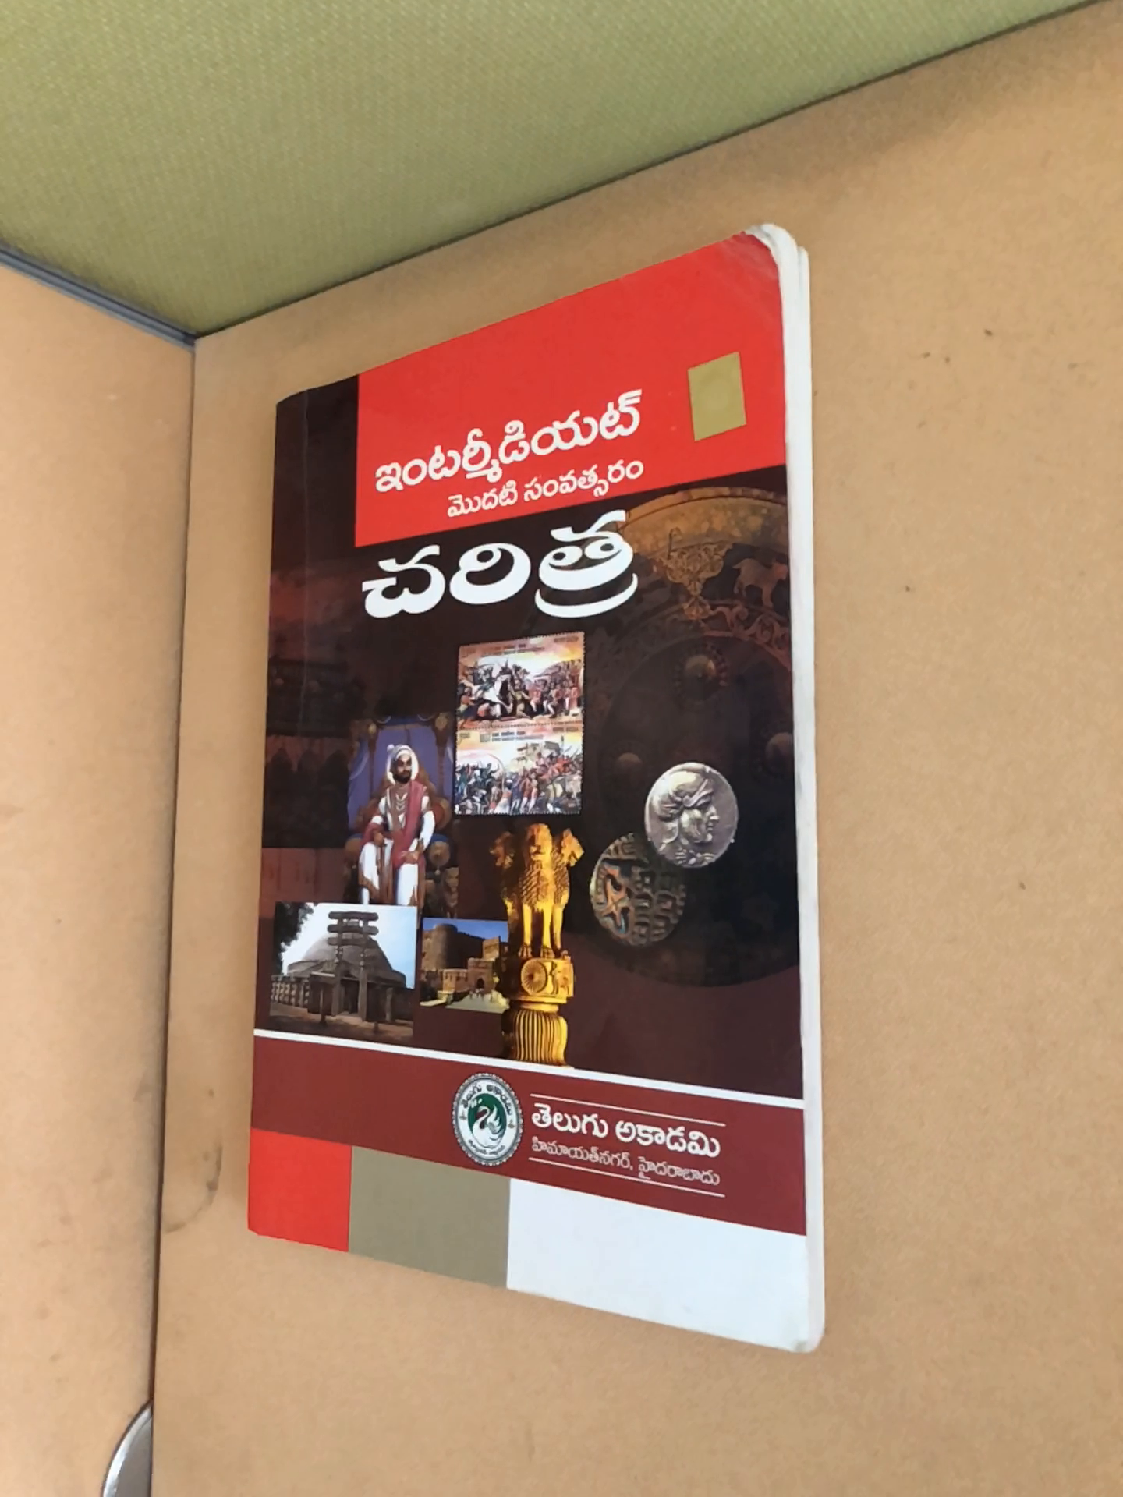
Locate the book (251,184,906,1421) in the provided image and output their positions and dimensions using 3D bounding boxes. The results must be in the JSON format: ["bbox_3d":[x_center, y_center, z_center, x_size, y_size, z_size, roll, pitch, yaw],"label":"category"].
[{"bbox_3d":[-0.007,0.012,0.361,0.201,0.030,0.290,-5,81,36],"label":"book"}]
